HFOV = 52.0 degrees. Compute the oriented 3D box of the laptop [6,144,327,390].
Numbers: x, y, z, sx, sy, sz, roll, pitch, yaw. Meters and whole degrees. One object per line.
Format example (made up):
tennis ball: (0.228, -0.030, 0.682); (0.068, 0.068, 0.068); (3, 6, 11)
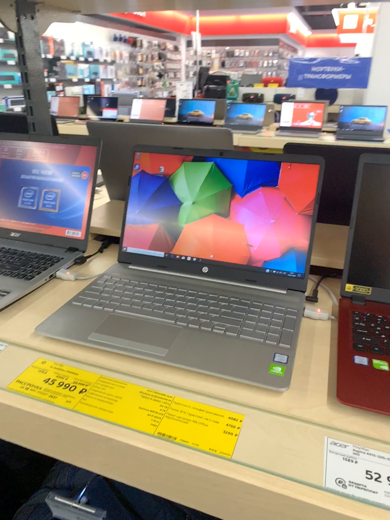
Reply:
laptop: (-0.004, -0.038, 0.625); (0.360, 0.209, 0.348); (9, 25, 17)
